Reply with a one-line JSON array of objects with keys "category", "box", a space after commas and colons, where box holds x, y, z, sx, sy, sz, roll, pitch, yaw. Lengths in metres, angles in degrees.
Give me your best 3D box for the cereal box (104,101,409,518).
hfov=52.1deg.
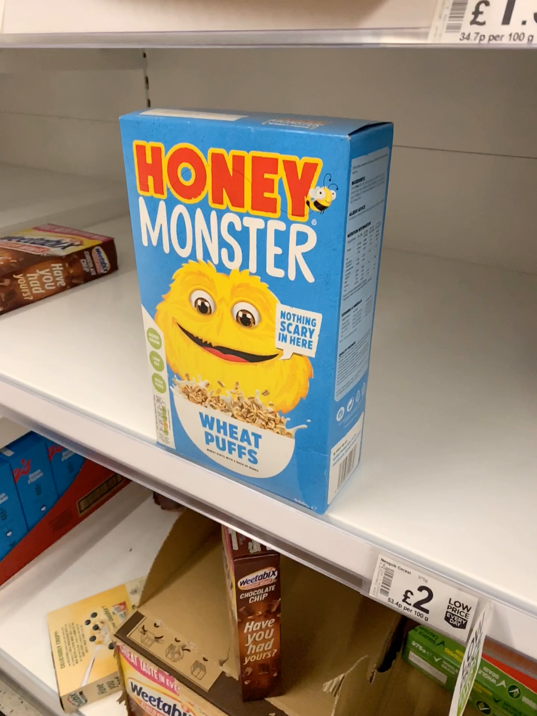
[{"category": "cereal box", "box": [-0.012, -0.045, 0.460, 0.200, 0.297, 0.091, 17, 32, 28]}]
